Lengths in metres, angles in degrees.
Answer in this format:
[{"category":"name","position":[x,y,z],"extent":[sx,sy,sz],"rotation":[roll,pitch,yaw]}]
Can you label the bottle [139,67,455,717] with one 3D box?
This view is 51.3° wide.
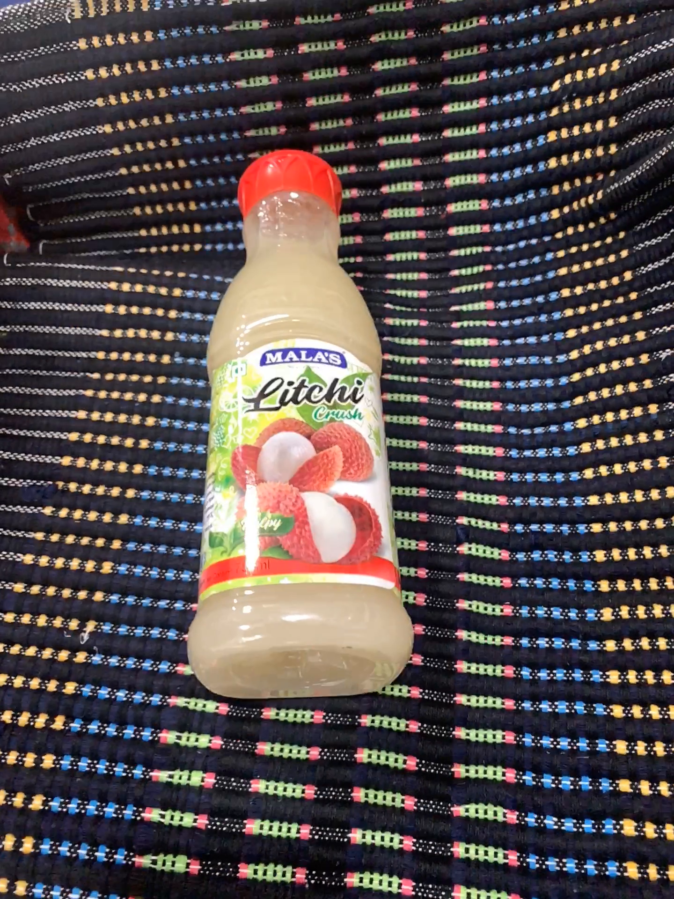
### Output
[{"category":"bottle","position":[-0.018,-0.039,0.281],"extent":[0.080,0.080,0.261],"rotation":[-1,58,-4]}]
